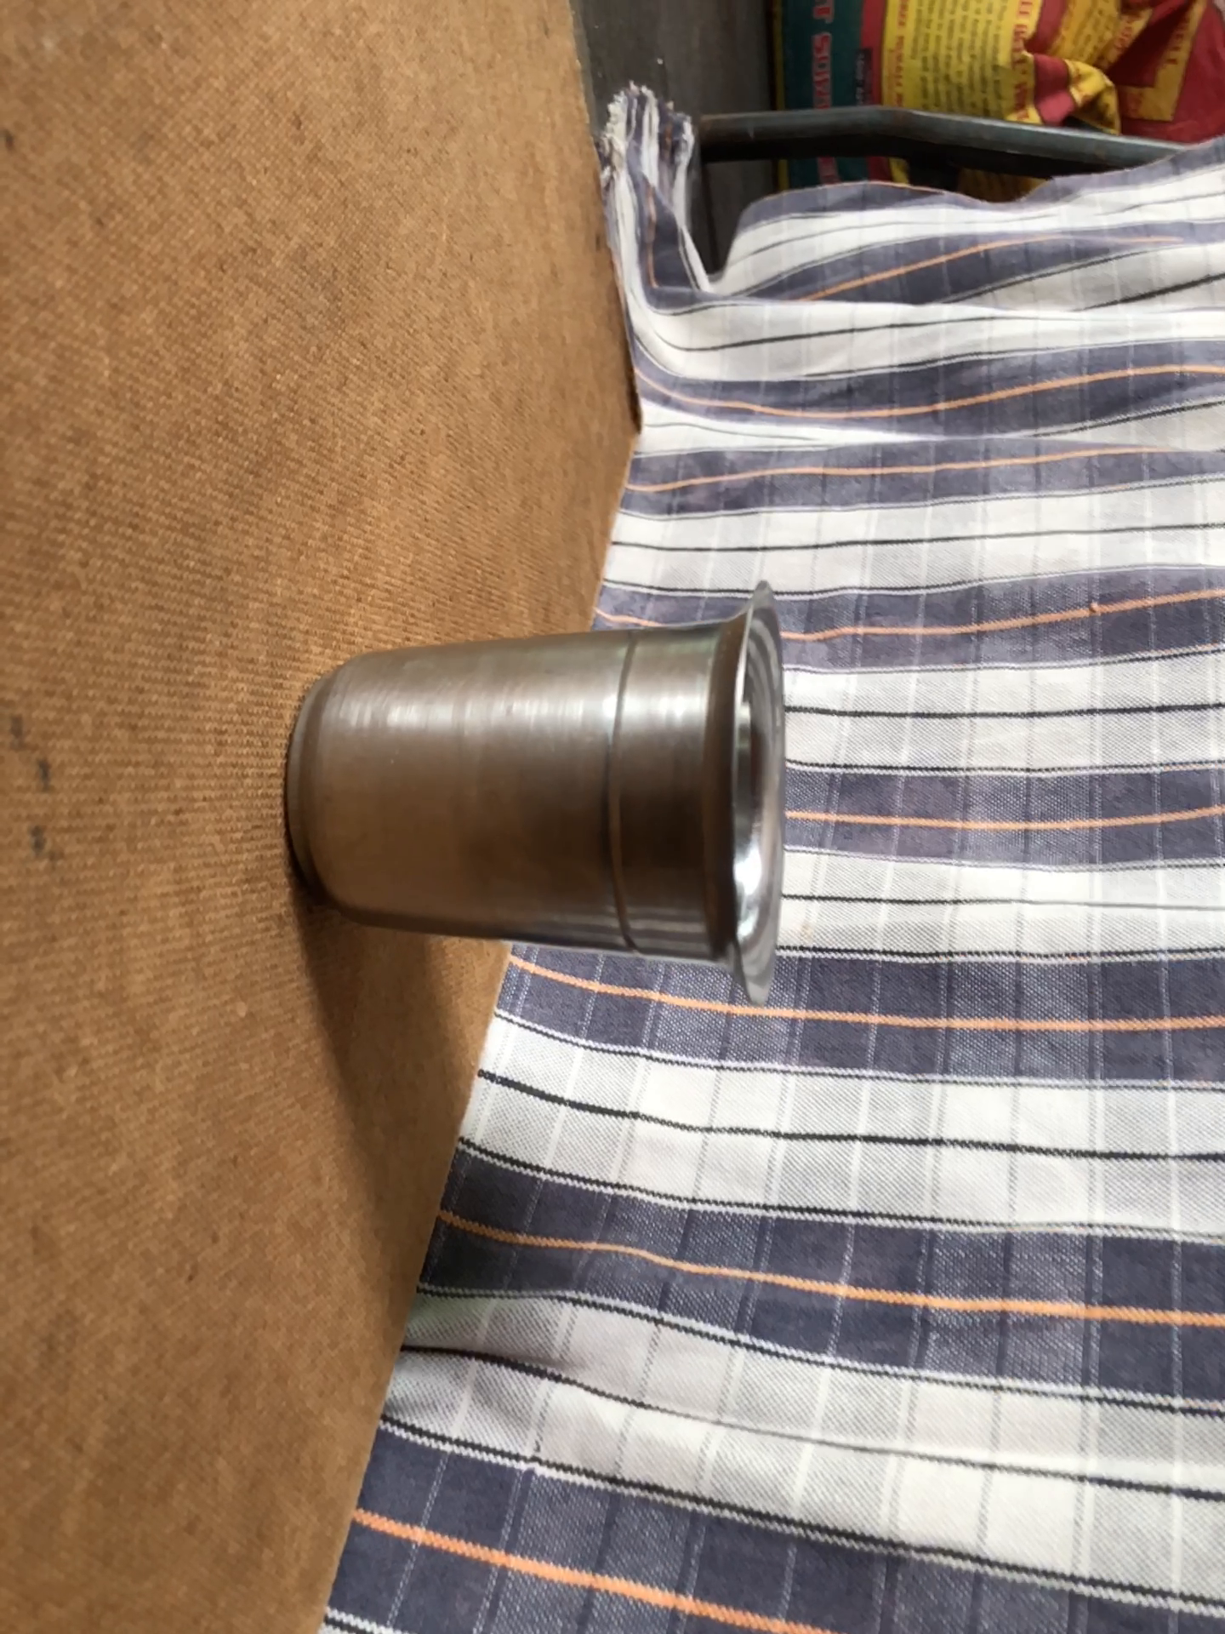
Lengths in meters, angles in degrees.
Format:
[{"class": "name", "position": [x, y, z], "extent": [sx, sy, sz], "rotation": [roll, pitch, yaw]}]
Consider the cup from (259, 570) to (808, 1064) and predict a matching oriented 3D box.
[{"class": "cup", "position": [-0.007, -0.005, 0.249], "extent": [0.070, 0.080, 0.070], "rotation": [1, 90, -78]}]
